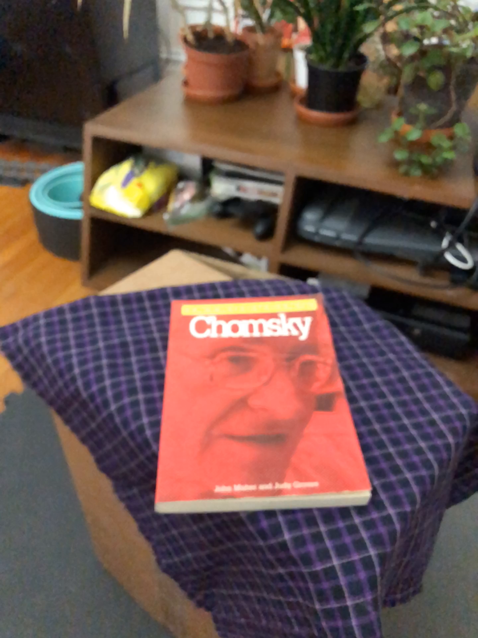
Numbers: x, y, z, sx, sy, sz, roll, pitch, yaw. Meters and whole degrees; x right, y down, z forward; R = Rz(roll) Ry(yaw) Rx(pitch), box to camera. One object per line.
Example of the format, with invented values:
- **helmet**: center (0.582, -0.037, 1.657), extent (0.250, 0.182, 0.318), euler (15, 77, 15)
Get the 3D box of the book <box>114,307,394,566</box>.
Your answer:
- **book**: center (0.004, 0.075, 0.444), extent (0.180, 0.020, 0.241), euler (-1, 40, -3)
